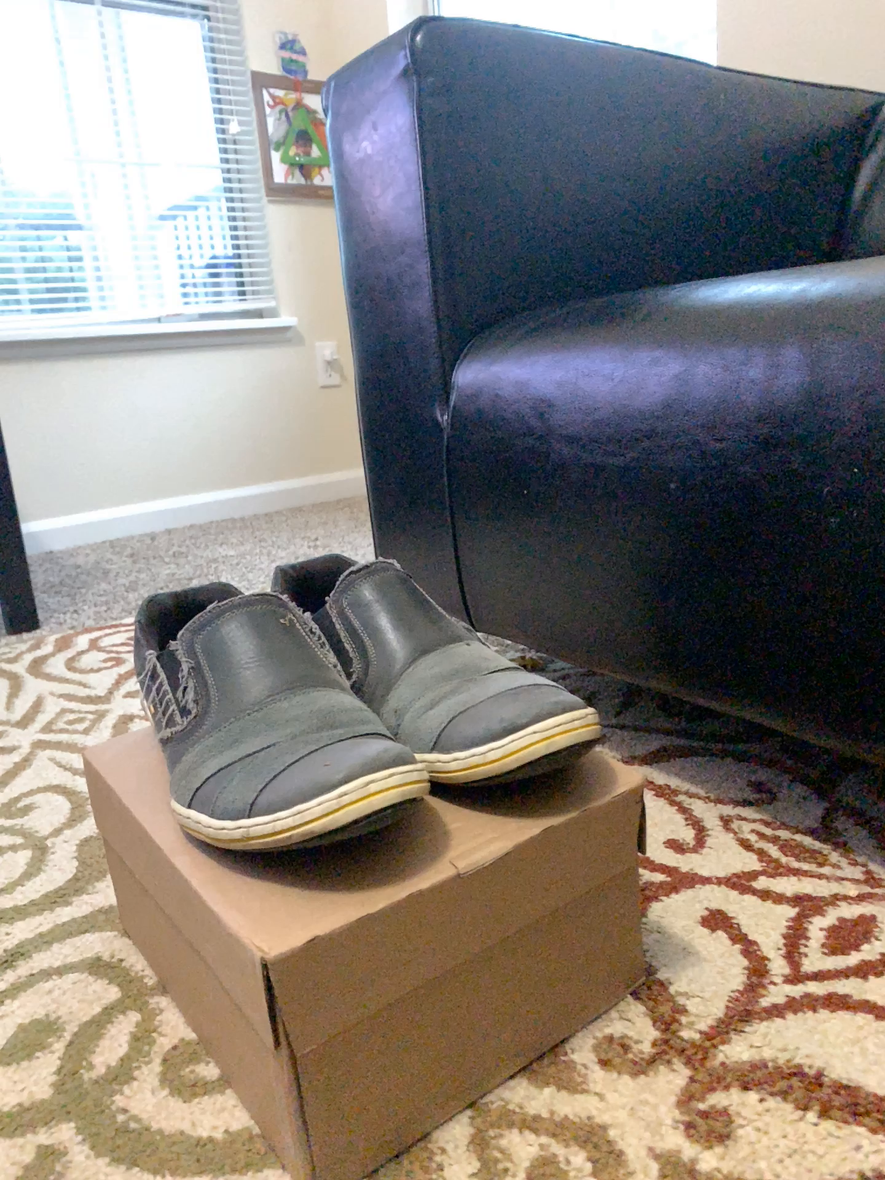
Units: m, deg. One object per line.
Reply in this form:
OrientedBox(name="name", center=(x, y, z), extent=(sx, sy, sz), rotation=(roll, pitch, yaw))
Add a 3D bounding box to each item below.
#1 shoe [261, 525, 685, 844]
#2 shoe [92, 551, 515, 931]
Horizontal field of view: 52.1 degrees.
OrientedBox(name="shoe", center=(0.003, 0.035, 0.557), extent=(0.140, 0.100, 0.261), rotation=(-12, 16, -27))
OrientedBox(name="shoe", center=(-0.093, 0.056, 0.505), extent=(0.140, 0.100, 0.261), rotation=(-12, 16, -27))
